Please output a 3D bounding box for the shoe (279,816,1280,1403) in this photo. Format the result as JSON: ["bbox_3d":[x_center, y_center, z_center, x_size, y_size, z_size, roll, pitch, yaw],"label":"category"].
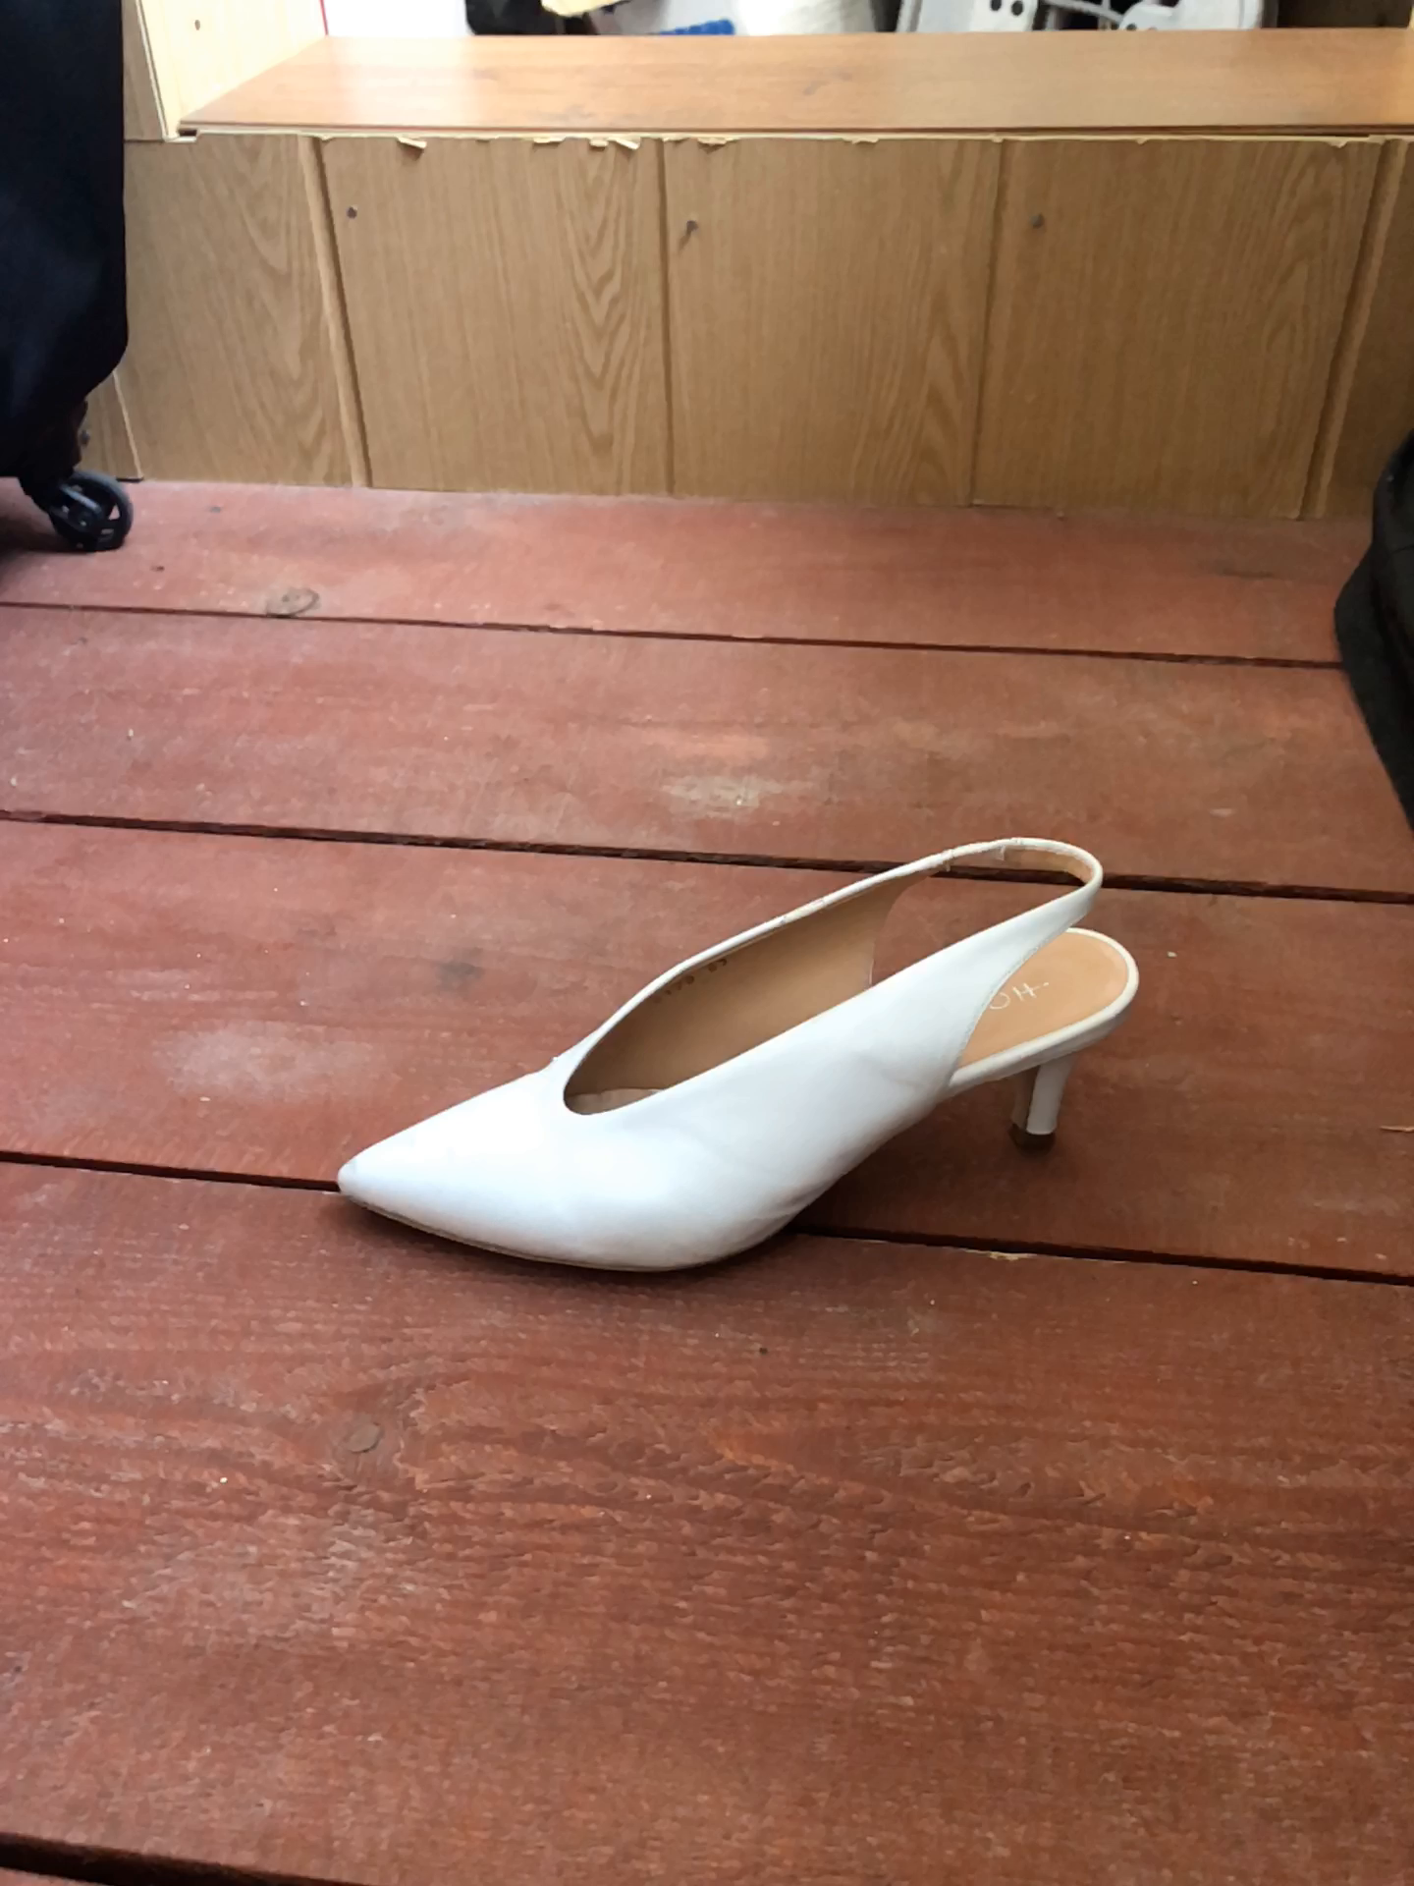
[{"bbox_3d":[0.014,0.040,0.431,0.240,0.080,0.100,-8,37,-7],"label":"shoe"}]
